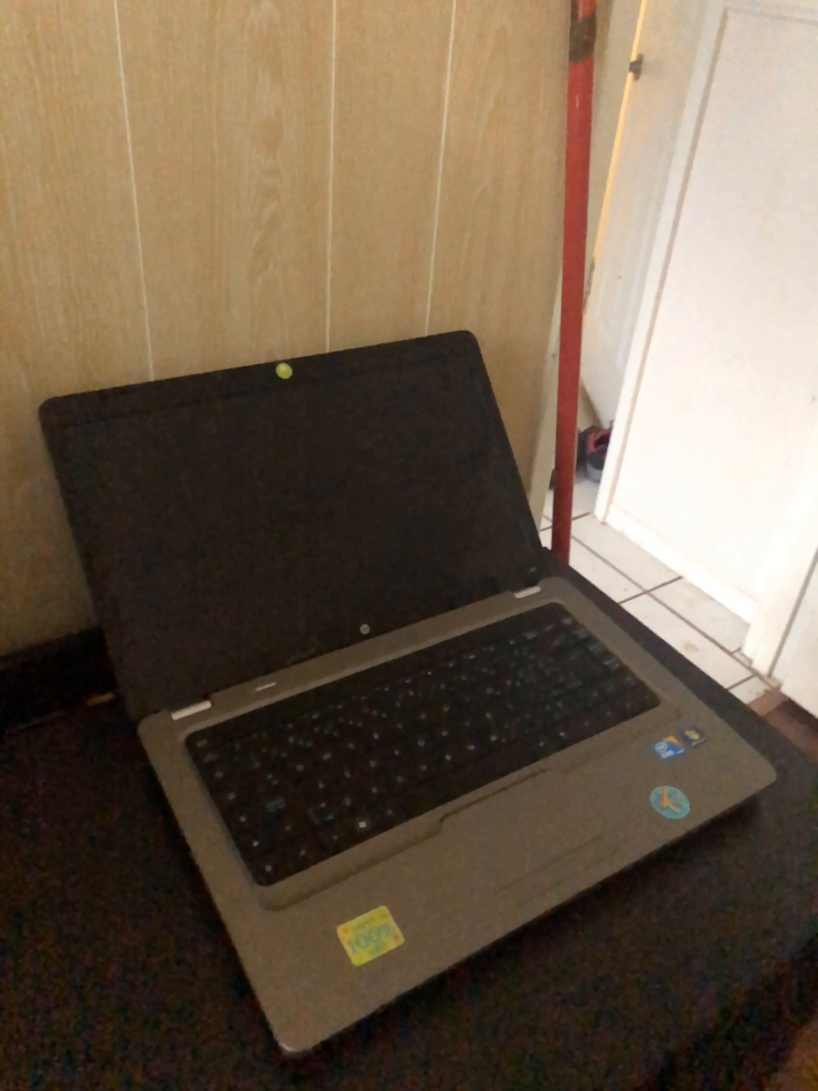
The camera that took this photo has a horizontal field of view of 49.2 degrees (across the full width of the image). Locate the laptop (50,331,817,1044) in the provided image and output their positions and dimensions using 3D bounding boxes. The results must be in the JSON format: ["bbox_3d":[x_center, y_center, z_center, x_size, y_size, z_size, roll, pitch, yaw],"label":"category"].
[{"bbox_3d":[-0.003,0.027,0.629,0.363,0.154,0.420,-16,41,-27],"label":"laptop"}]
